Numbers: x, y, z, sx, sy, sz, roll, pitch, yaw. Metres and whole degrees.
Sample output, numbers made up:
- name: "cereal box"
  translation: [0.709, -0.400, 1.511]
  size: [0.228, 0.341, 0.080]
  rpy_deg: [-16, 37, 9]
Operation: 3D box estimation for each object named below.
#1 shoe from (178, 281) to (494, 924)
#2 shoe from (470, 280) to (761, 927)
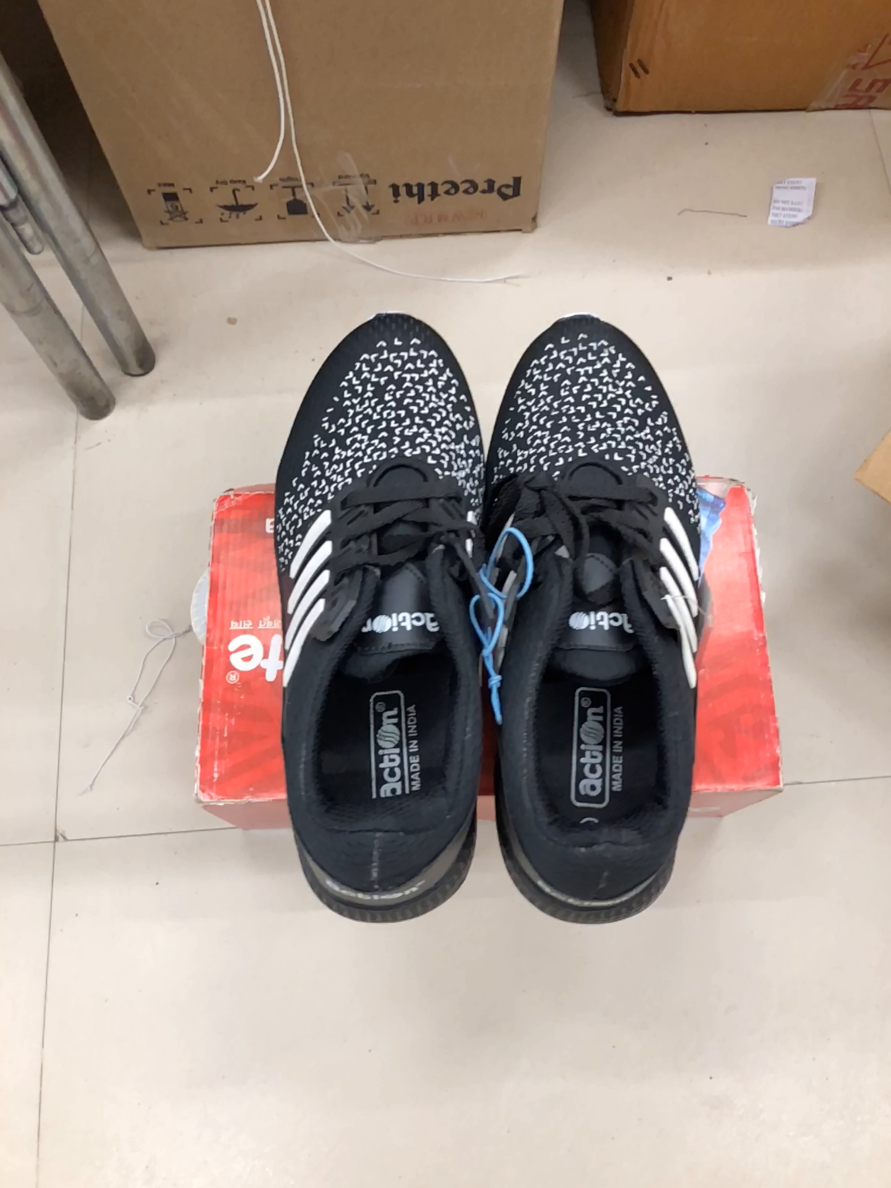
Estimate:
- name: "shoe"
  translation: [-0.036, 0.005, 0.438]
  size: [0.111, 0.103, 0.267]
  rpy_deg: [1, 71, 1]
- name: "shoe"
  translation: [0.065, 0.005, 0.438]
  size: [0.101, 0.103, 0.267]
  rpy_deg: [2, 71, 1]
